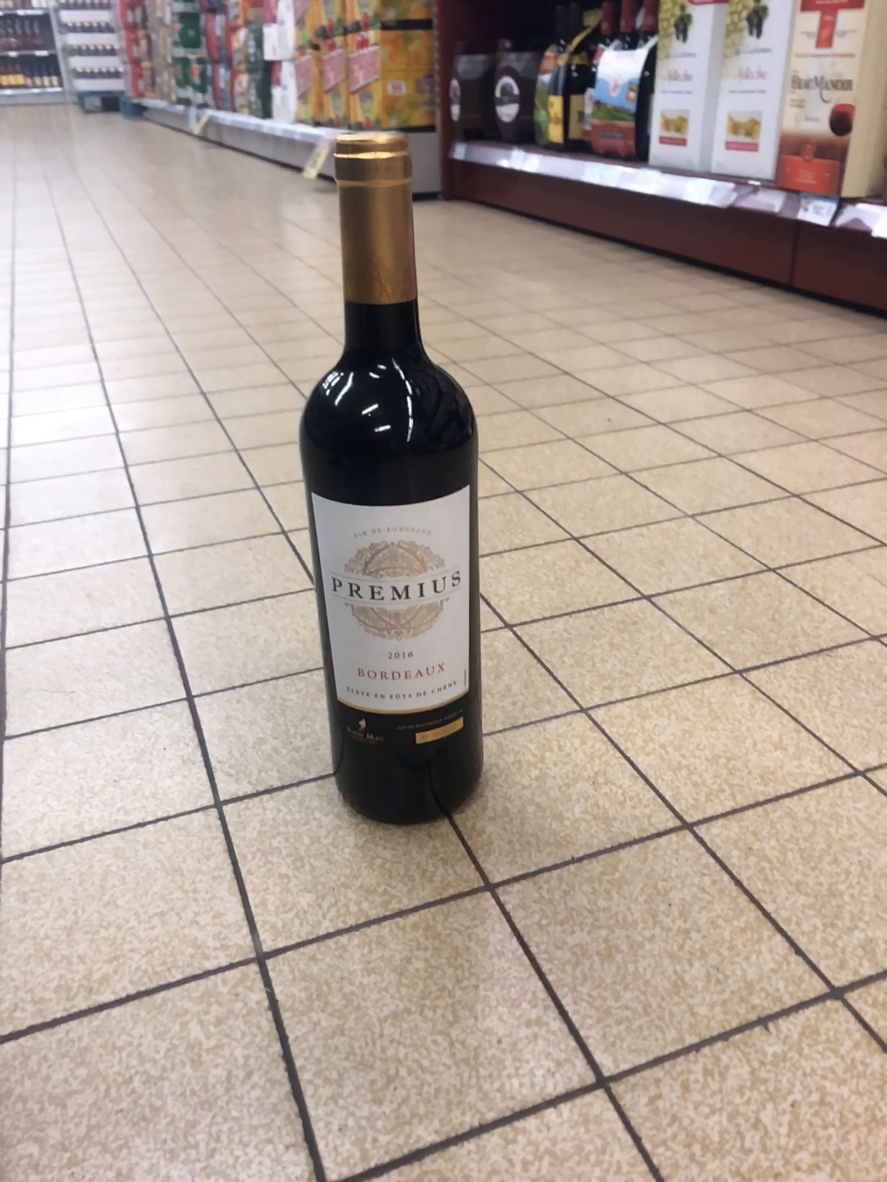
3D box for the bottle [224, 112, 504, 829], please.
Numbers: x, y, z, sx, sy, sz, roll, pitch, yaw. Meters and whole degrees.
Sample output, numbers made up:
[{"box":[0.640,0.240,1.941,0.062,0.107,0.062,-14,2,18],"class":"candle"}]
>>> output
[{"box":[-0.025,-0.041,0.415,0.090,0.288,0.080,-3,27,-3],"class":"bottle"}]
